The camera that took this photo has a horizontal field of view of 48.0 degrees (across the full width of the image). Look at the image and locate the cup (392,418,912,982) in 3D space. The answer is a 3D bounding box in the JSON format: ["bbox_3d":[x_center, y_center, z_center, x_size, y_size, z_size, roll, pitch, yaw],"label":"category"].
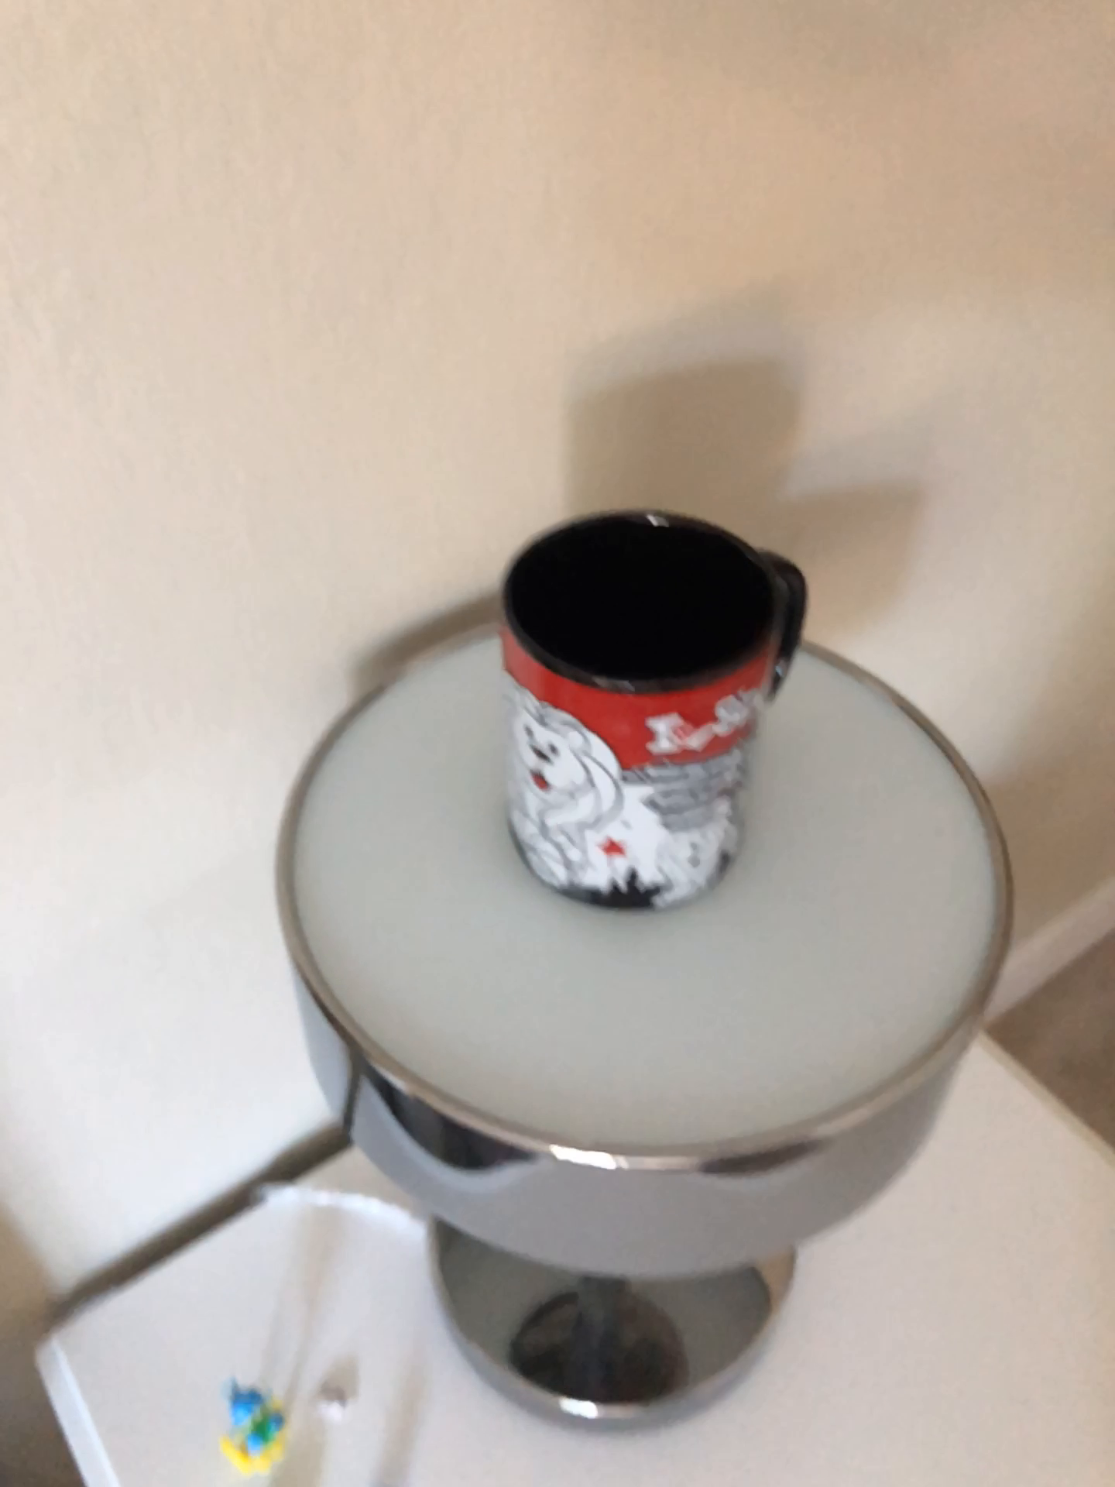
[{"bbox_3d":[0.030,-0.019,0.399,0.090,0.100,0.130,31,52,28],"label":"cup"}]
